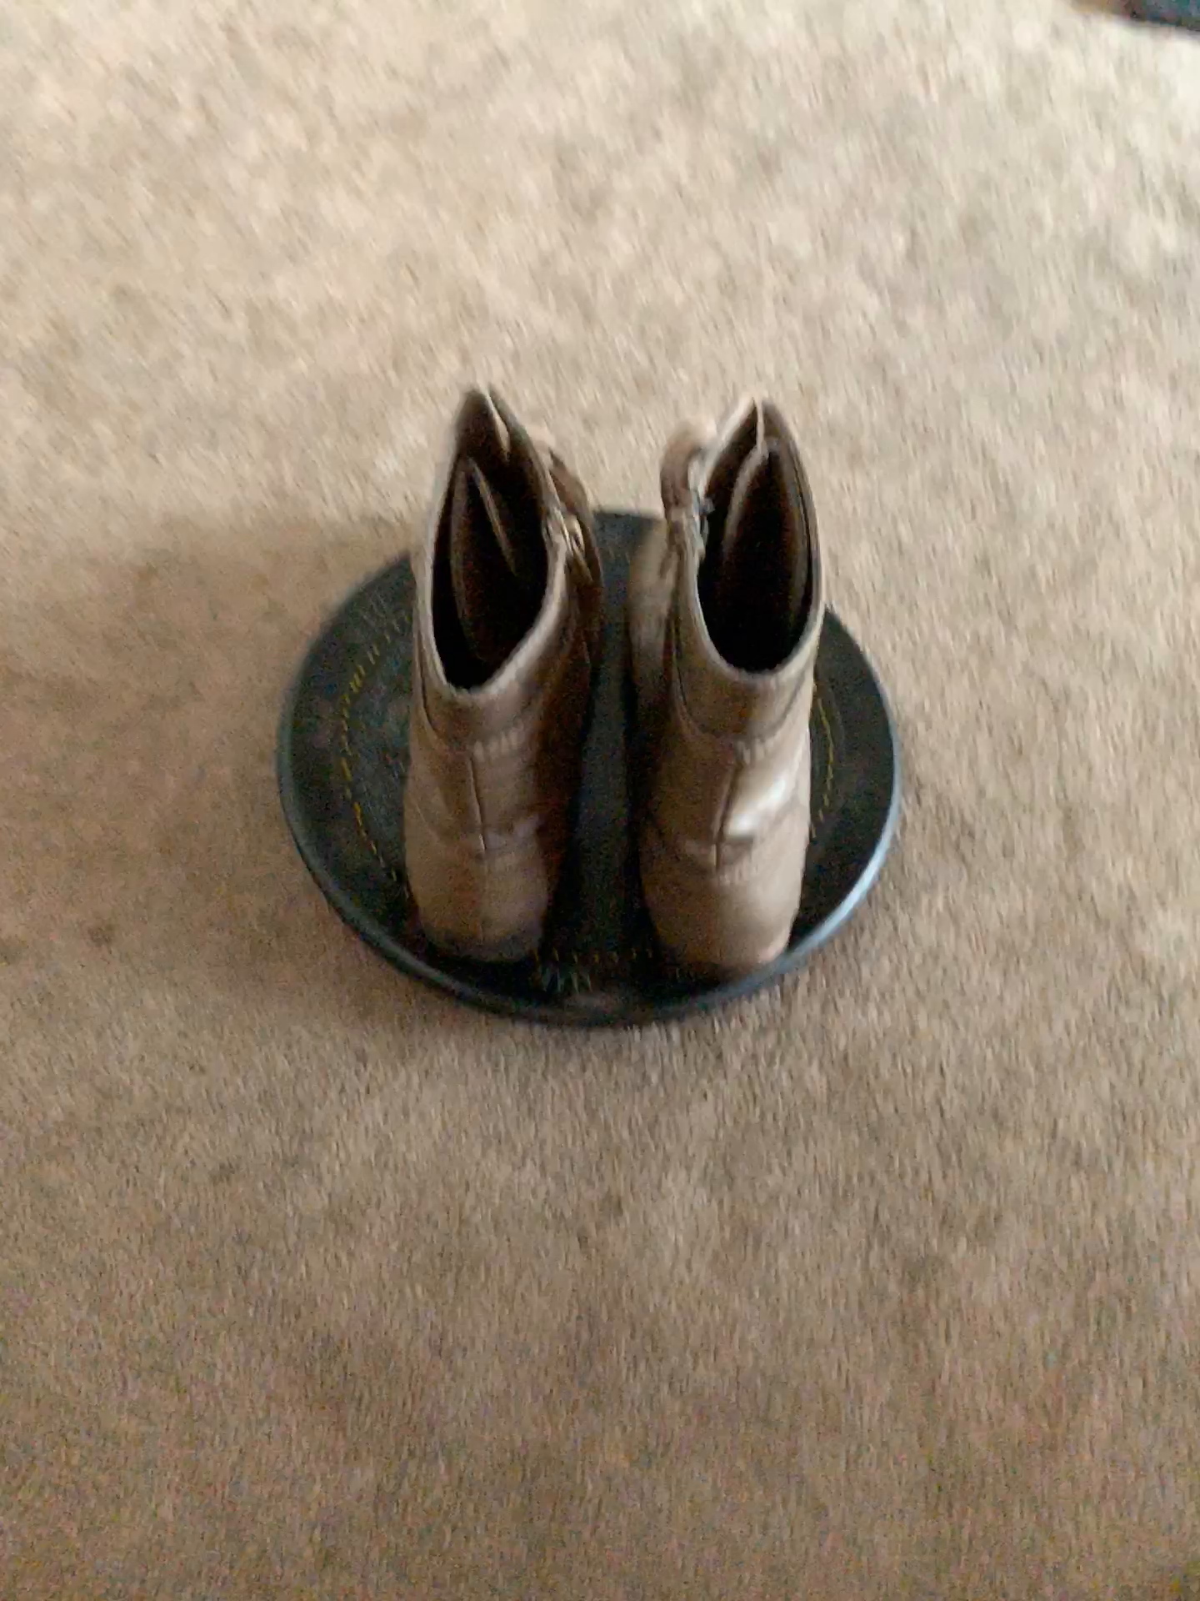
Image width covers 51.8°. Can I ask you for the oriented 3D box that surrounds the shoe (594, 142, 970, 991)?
[{"bbox_3d":[0.056,-0.090,0.501,0.100,0.199,0.272,3,59,0],"label":"shoe"}]

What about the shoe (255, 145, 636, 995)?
[{"bbox_3d":[-0.044,-0.089,0.500,0.100,0.199,0.272,3,59,0],"label":"shoe"}]
